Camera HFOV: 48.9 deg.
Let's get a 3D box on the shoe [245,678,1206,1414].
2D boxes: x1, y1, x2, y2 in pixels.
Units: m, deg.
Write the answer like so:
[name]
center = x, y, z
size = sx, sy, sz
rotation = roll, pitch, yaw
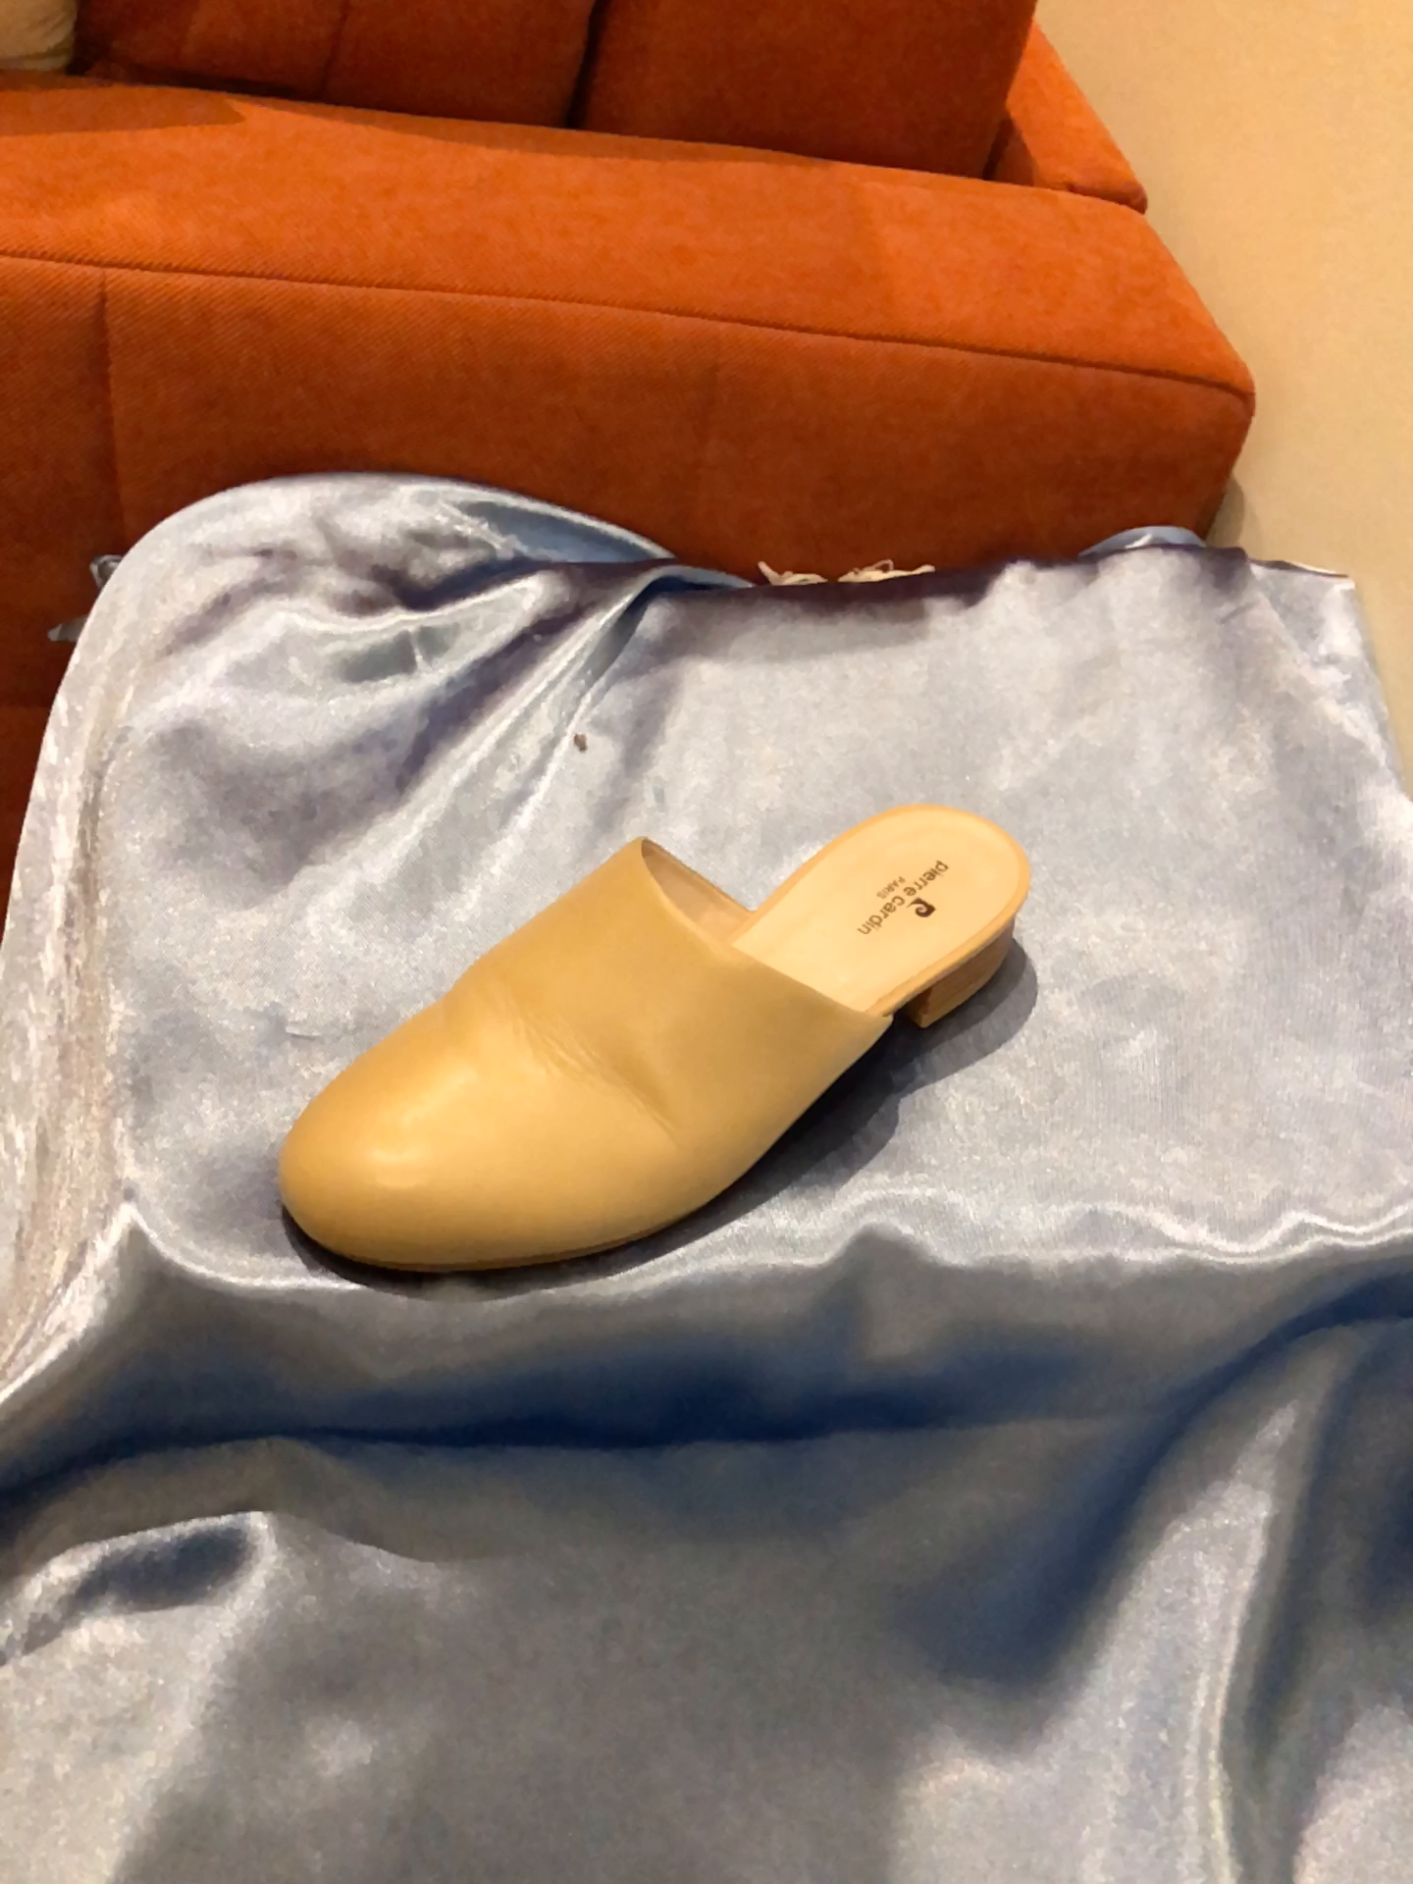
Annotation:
[shoe]
center = 0.014, 0.015, 0.443
size = 0.261, 0.060, 0.096
rotation = -26, 61, -30
